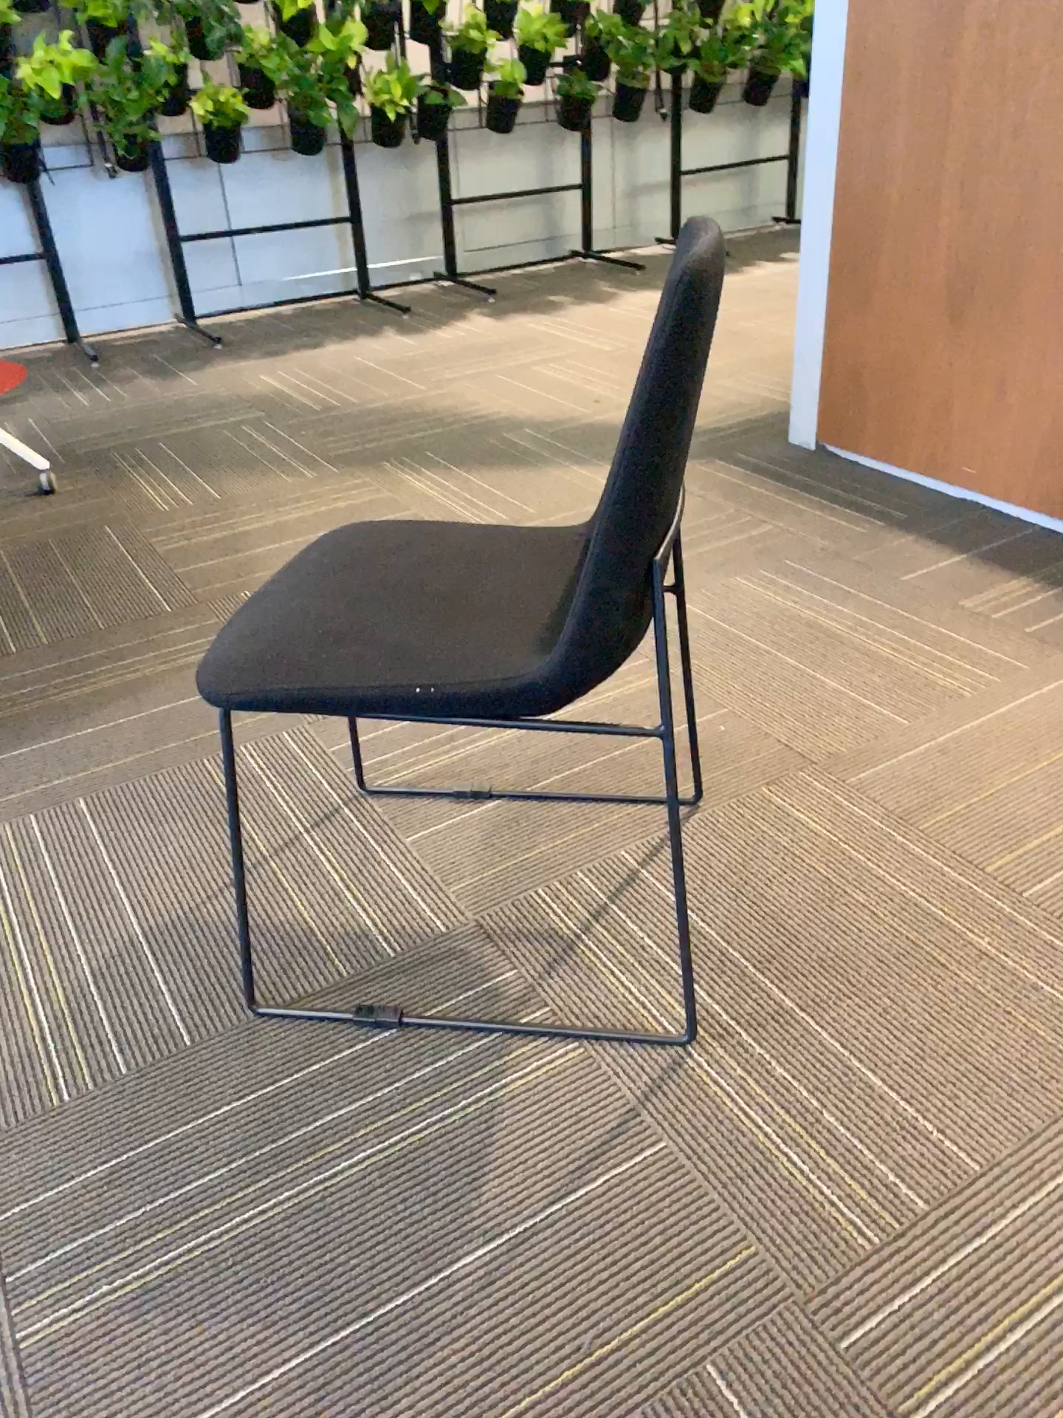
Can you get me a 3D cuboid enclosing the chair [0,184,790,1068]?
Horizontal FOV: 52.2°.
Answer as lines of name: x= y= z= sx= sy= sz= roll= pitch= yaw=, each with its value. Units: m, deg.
chair: x=-0.056 y=-0.101 z=1.143 sx=0.570 sy=0.745 sz=0.493 roll=2 pitch=31 yaw=9
